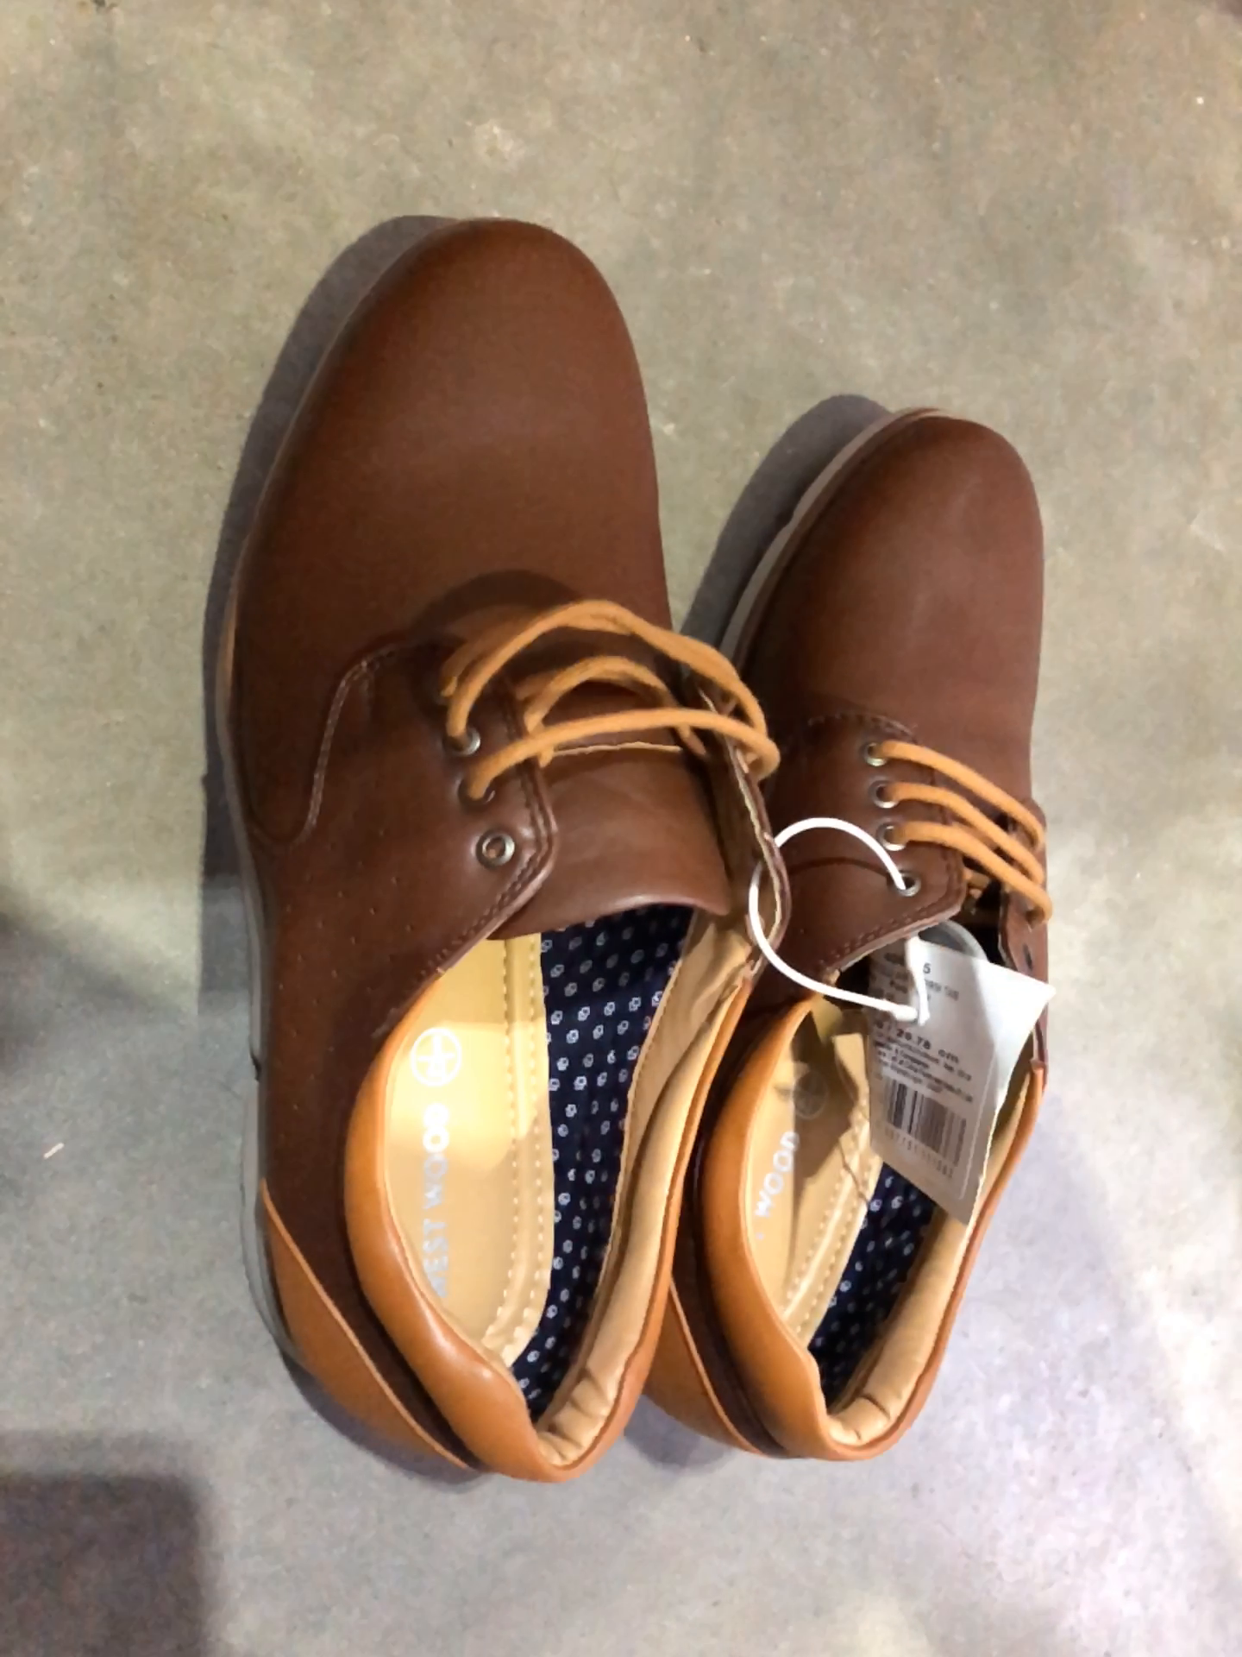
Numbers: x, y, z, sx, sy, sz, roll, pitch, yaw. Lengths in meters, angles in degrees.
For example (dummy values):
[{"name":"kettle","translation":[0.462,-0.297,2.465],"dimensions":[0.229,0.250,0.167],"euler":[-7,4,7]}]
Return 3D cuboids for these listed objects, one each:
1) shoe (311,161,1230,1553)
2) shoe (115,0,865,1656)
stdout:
[{"name":"shoe","translation":[0.043,0.005,0.385],"dimensions":[0.120,0.130,0.310],"euler":[25,76,-25]},{"name":"shoe","translation":[-0.033,0.002,0.302],"dimensions":[0.110,0.120,0.280],"euler":[5,85,-28]}]
